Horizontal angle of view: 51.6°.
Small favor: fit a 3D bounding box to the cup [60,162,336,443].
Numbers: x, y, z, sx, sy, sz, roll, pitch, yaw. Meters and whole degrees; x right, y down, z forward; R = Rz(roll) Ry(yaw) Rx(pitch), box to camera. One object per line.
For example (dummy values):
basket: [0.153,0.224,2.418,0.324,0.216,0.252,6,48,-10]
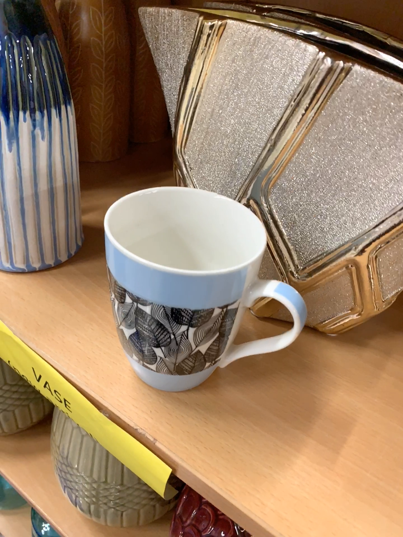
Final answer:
cup: [-0.001,0.011,0.221,0.110,0.090,0.080,18,34,13]
